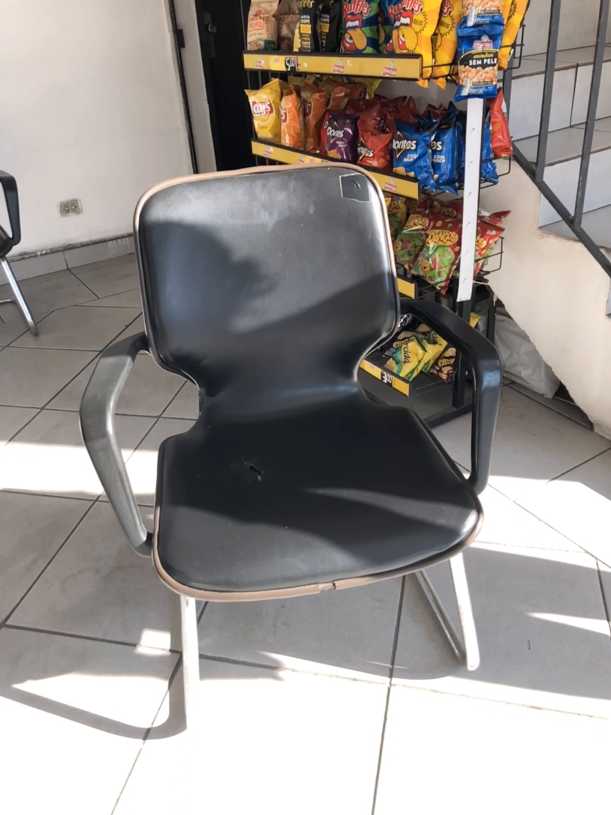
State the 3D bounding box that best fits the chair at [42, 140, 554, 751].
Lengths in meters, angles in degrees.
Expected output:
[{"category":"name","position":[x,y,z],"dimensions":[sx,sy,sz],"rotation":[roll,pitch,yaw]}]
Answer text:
[{"category":"chair","position":[-0.021,0.032,1.200],"dimensions":[0.580,0.824,0.584],"rotation":[-9,31,-8]}]
